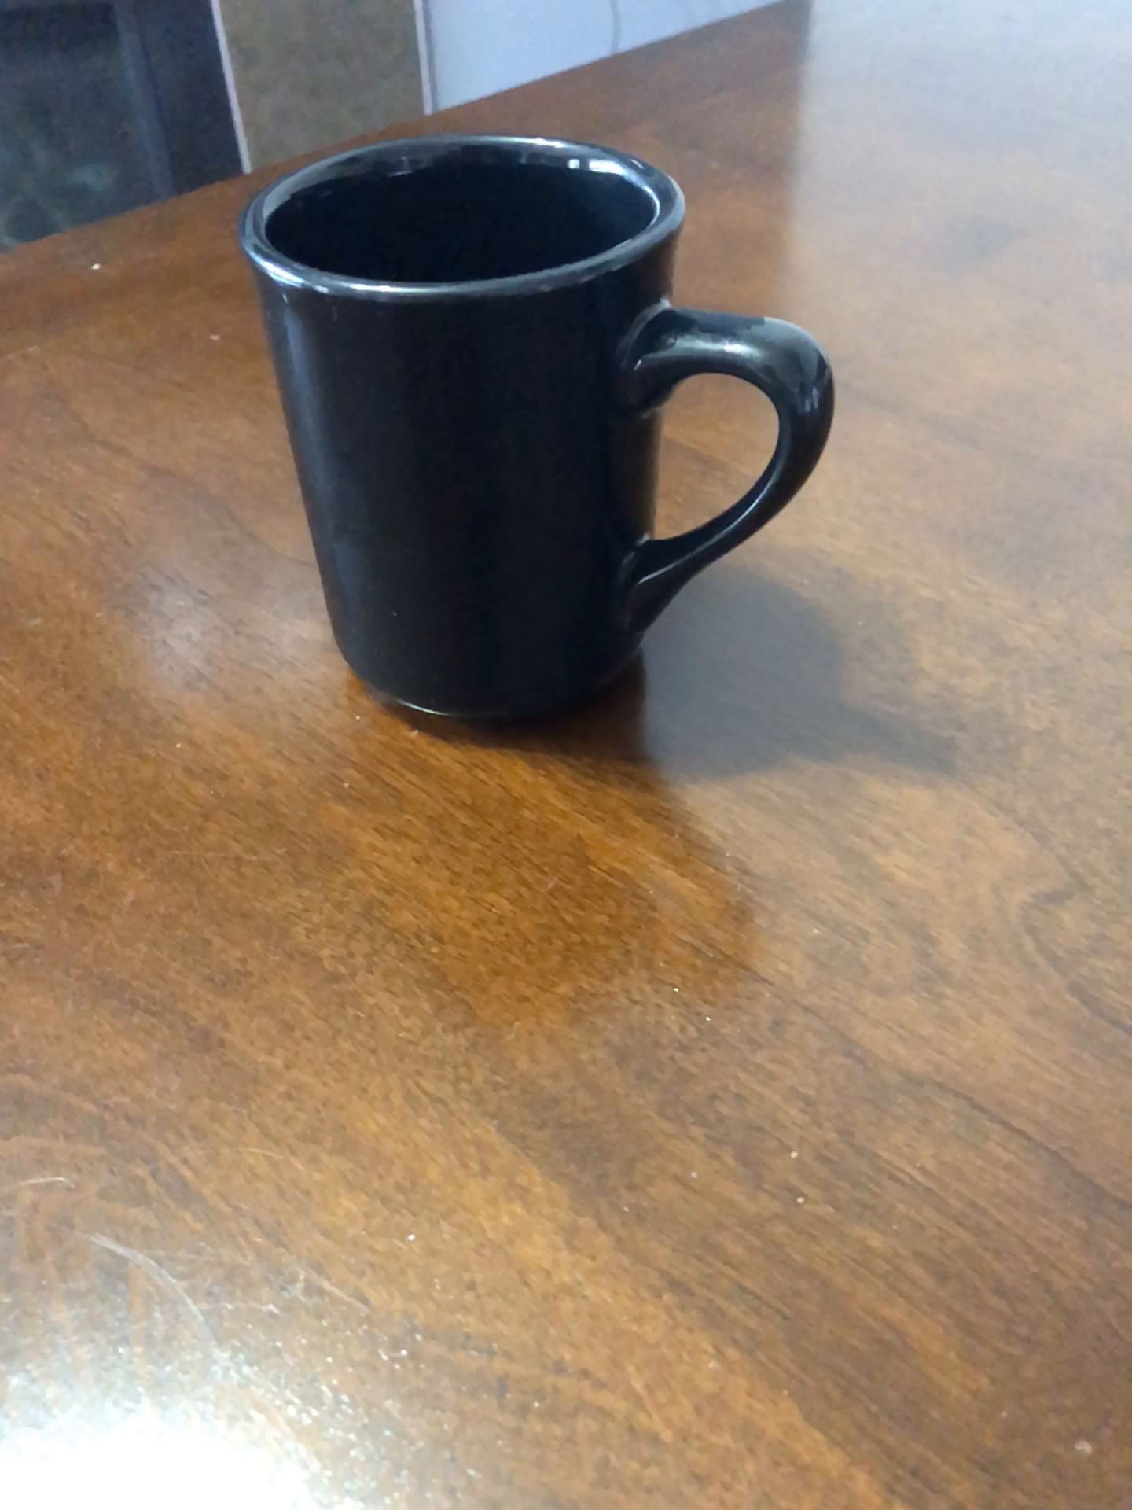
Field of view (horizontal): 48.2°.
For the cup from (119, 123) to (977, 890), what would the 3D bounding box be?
[{"bbox_3d":[-0.001,-0.056,0.251,0.120,0.090,0.090,23,48,25],"label":"cup"}]
